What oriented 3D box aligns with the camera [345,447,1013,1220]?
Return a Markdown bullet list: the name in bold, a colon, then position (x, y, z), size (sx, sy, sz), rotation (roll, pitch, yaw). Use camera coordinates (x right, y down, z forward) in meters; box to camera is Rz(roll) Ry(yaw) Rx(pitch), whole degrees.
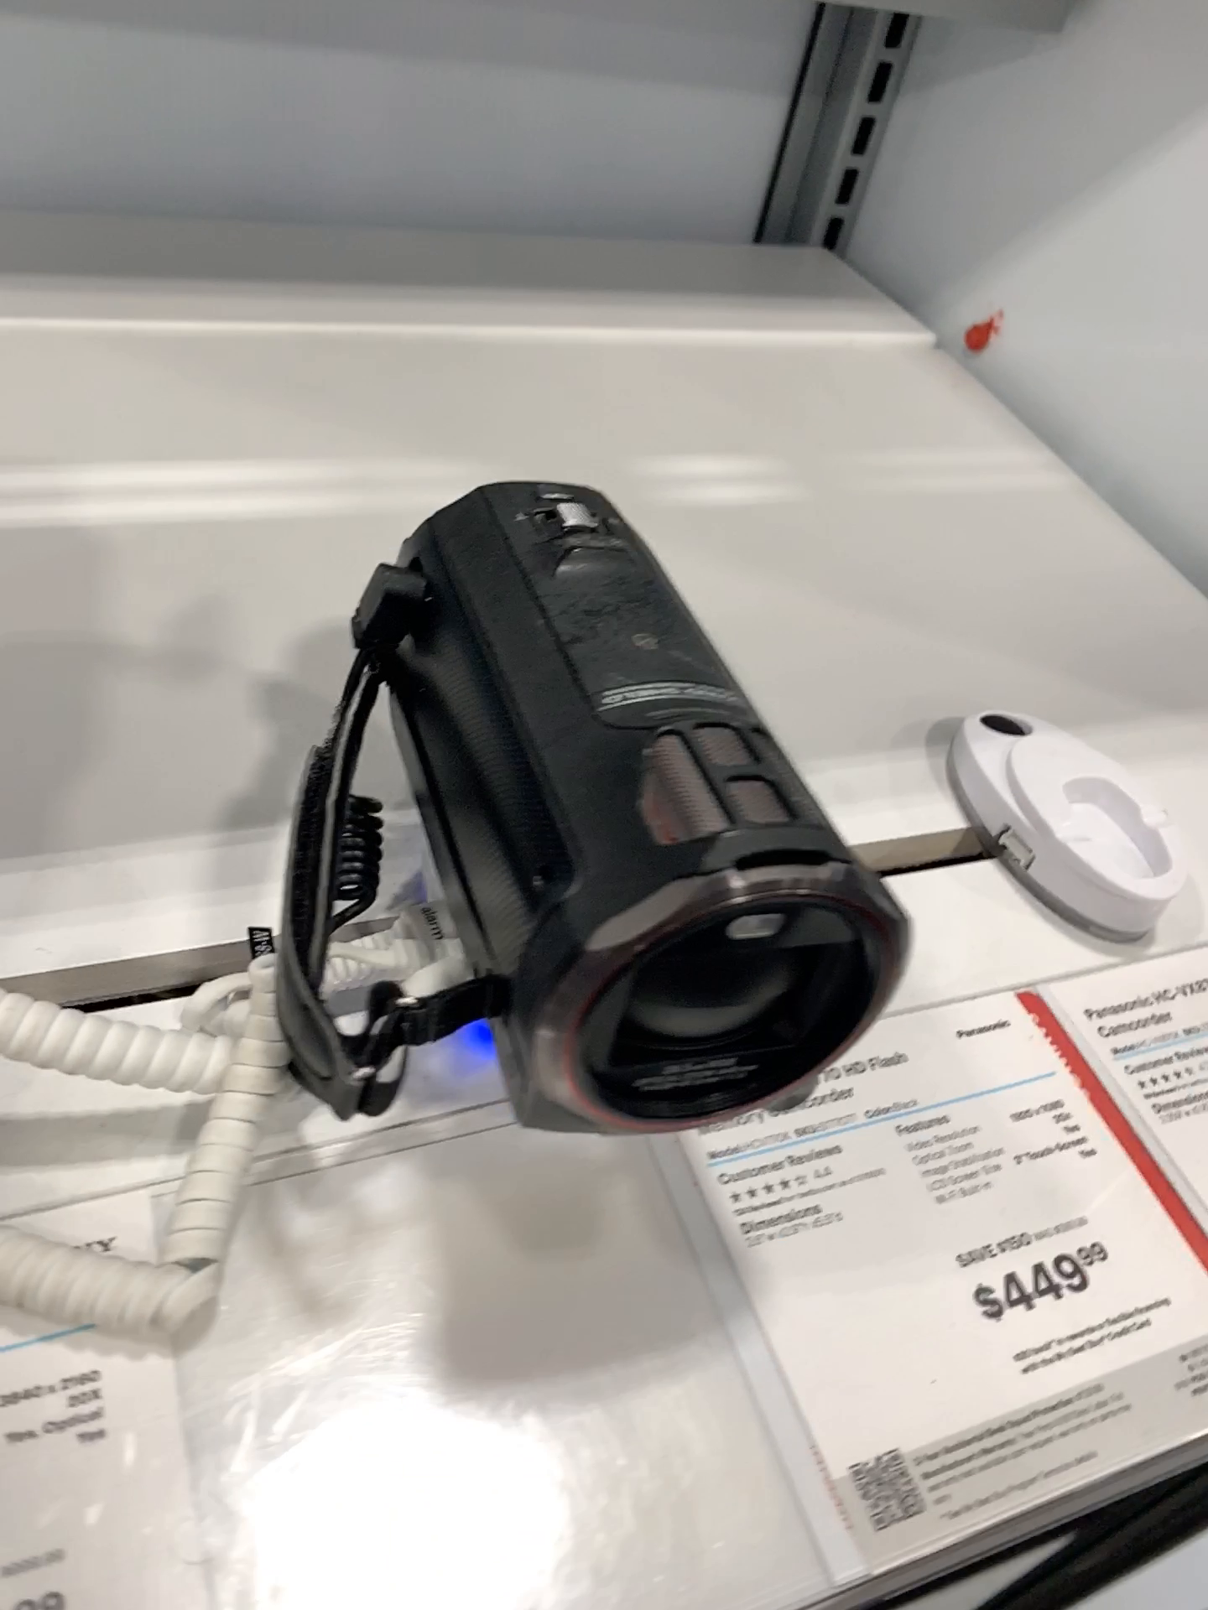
- **camera**: position (-0.001, -0.007, 0.234), size (0.065, 0.061, 0.139), rotation (-6, 42, -22)
